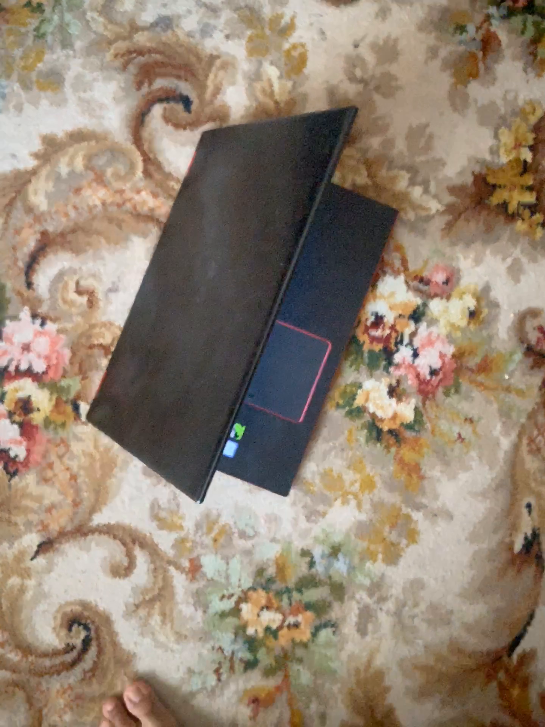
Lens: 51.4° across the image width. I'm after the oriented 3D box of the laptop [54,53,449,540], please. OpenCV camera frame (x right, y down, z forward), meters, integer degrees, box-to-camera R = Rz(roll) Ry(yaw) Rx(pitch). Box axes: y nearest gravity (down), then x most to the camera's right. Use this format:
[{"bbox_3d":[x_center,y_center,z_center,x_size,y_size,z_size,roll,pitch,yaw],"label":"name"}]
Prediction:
[{"bbox_3d":[-0.016,-0.055,0.571,0.224,0.173,0.356,22,88,-3],"label":"laptop"}]
